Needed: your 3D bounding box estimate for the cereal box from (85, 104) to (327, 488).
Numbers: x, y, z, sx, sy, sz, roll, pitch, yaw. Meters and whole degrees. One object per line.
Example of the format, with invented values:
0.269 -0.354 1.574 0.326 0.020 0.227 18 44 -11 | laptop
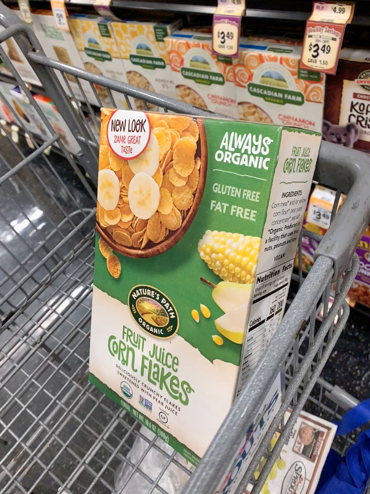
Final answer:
-0.003 0.025 0.306 0.160 0.250 0.060 20 22 37 | cereal box
